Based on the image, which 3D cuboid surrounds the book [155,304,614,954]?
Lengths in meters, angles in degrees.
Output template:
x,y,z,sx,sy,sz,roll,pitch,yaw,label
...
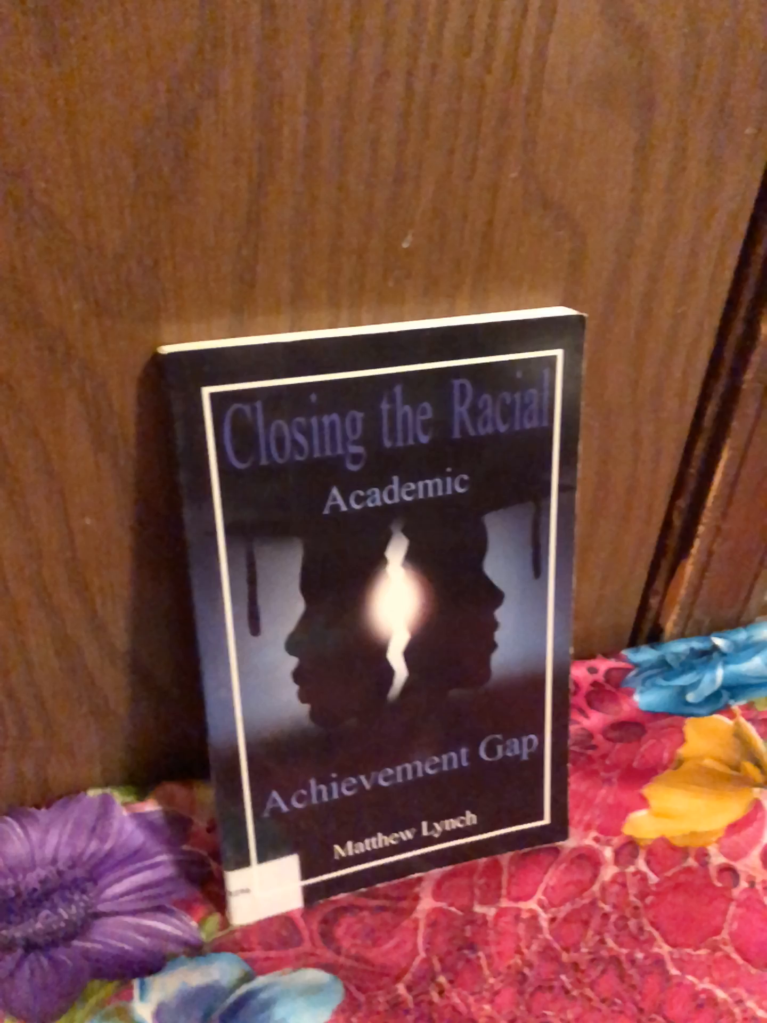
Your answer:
x,y,z,sx,sy,sz,roll,pitch,yaw,label
0.004,0.046,0.320,0.146,0.230,0.036,-9,24,-18,book
